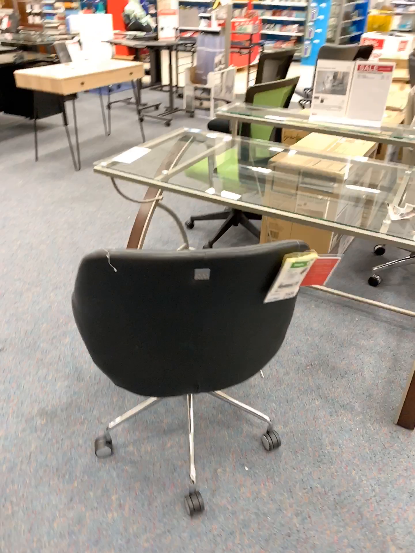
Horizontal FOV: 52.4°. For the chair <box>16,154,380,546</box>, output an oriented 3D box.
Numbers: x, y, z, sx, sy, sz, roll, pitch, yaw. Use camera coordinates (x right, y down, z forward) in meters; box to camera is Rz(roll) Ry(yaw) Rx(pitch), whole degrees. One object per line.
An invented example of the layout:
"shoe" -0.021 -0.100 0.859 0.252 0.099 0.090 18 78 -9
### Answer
"chair" -0.068 0.174 1.249 0.657 0.844 0.657 -6 34 -11
